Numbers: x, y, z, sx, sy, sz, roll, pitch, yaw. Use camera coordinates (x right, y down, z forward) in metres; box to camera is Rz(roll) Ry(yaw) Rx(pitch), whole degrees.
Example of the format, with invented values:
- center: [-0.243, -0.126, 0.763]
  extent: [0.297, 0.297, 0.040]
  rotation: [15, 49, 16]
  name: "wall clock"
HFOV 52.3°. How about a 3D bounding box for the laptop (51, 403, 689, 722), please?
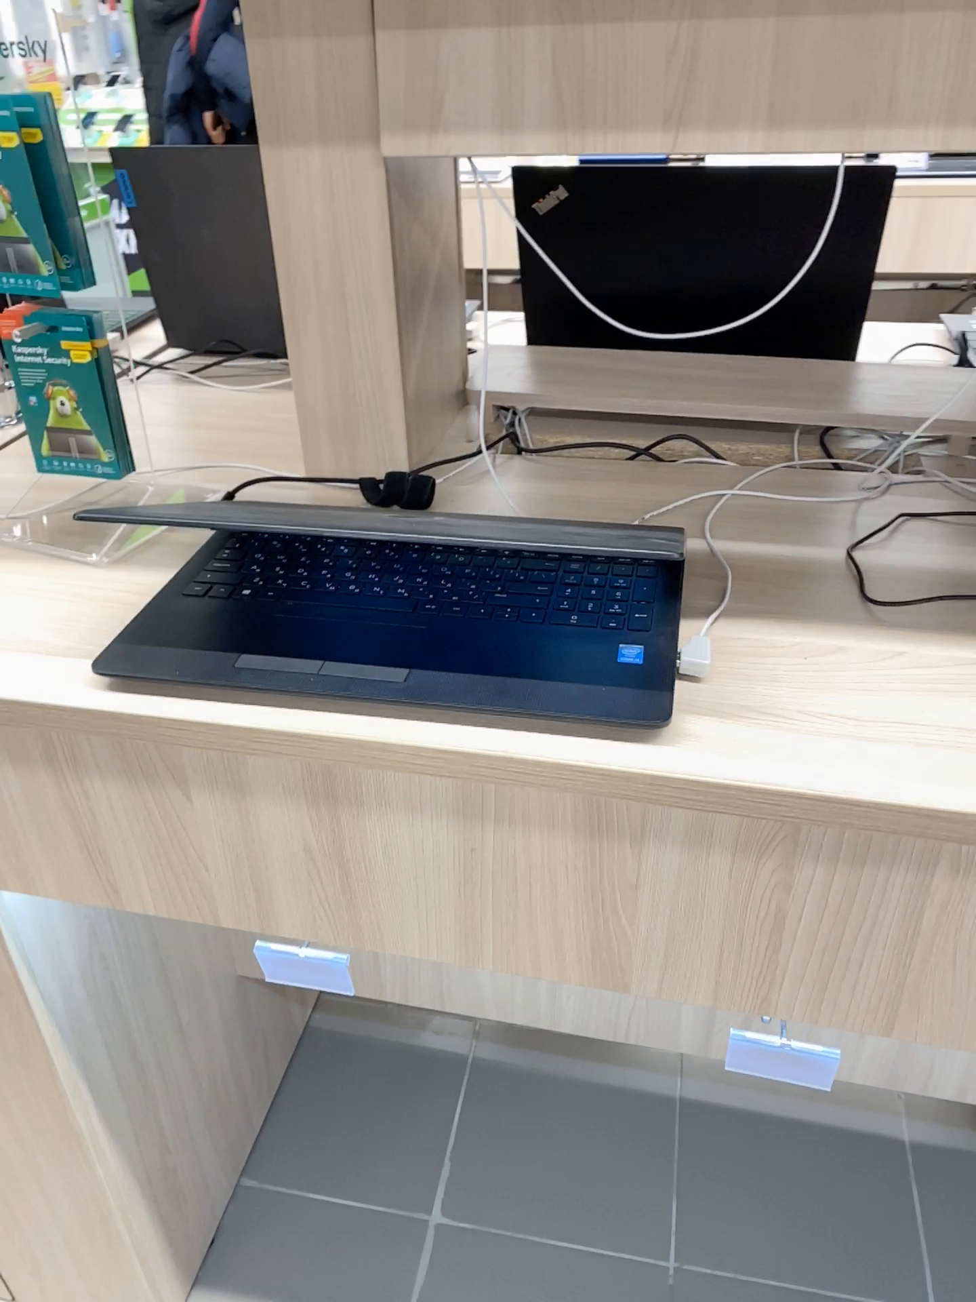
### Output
- center: [-0.056, -0.080, 0.696]
  extent: [0.373, 0.093, 0.252]
  rotation: [5, 33, 11]
  name: "laptop"
